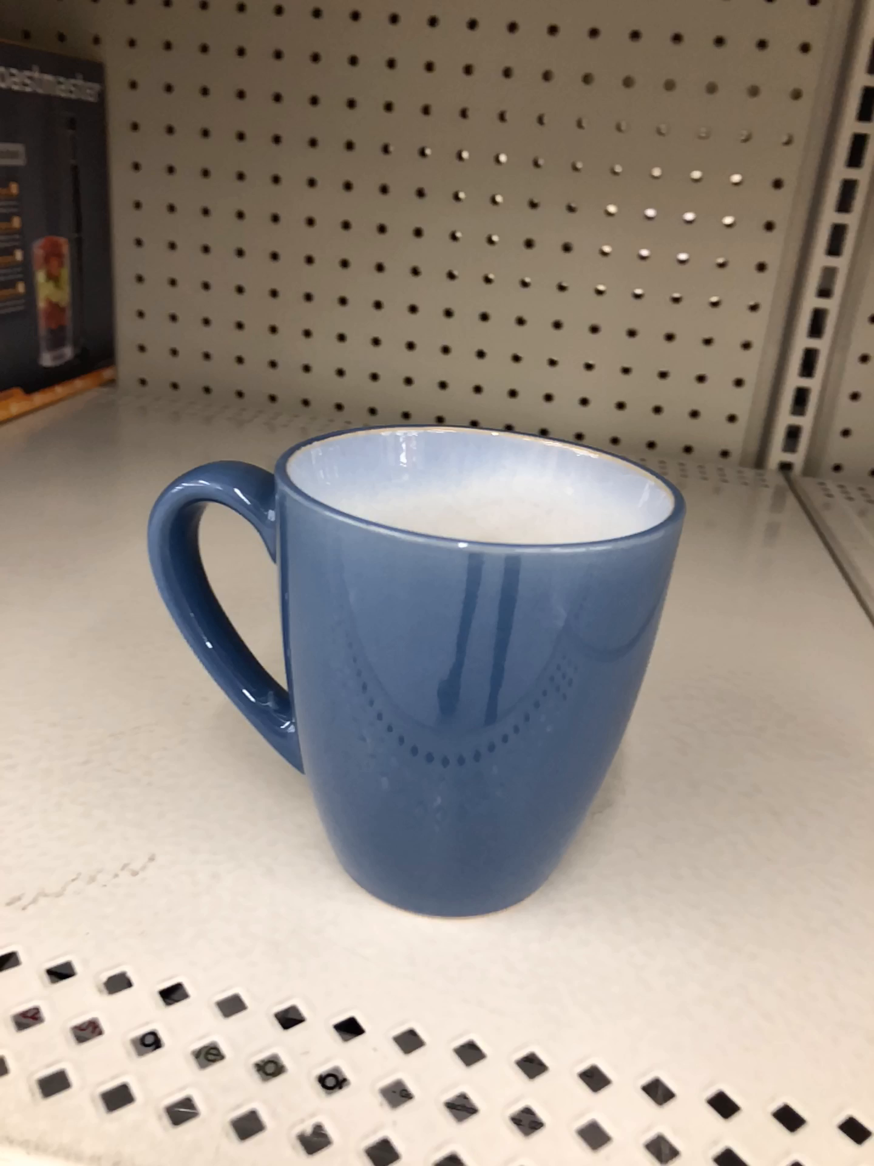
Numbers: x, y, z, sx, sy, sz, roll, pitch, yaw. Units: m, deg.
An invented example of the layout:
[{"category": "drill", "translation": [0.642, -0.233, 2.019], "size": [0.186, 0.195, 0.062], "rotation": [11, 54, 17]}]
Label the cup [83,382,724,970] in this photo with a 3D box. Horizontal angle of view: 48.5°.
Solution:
[{"category": "cup", "translation": [-0.004, 0.013, 0.250], "size": [0.127, 0.098, 0.097], "rotation": [8, 23, 9]}]
